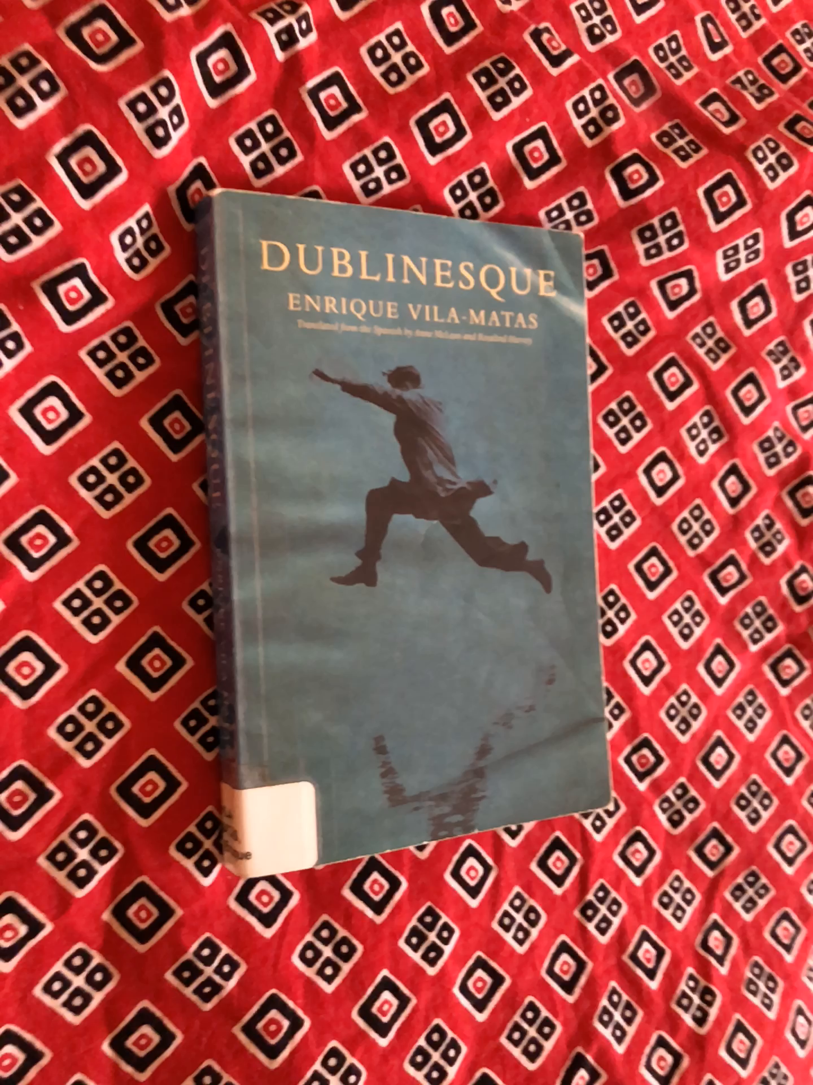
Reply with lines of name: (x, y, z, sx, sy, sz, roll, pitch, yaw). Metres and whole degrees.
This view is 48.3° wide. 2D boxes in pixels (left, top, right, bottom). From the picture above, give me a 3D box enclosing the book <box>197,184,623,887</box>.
book: (0.006, -0.004, 0.300, 0.138, 0.020, 0.203, -2, 90, -24)
